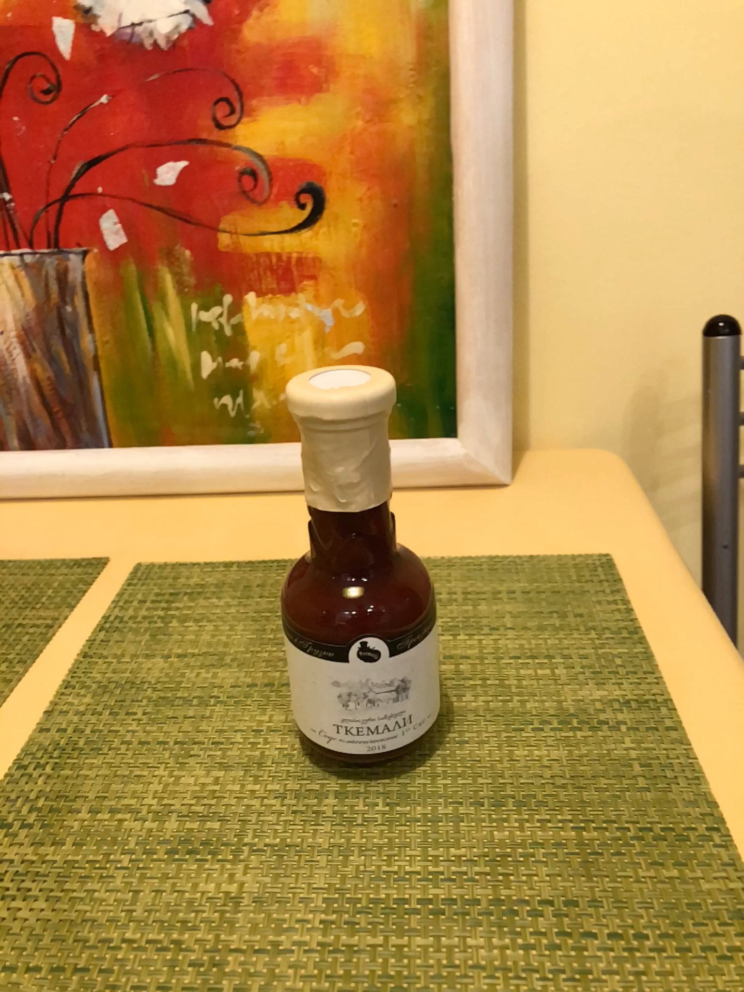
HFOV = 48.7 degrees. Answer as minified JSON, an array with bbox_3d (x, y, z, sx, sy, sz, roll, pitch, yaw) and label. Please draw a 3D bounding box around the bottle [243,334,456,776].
[{"bbox_3d":[-0.007,0.023,0.334,0.070,0.159,0.070,-2,24,1],"label":"bottle"}]
